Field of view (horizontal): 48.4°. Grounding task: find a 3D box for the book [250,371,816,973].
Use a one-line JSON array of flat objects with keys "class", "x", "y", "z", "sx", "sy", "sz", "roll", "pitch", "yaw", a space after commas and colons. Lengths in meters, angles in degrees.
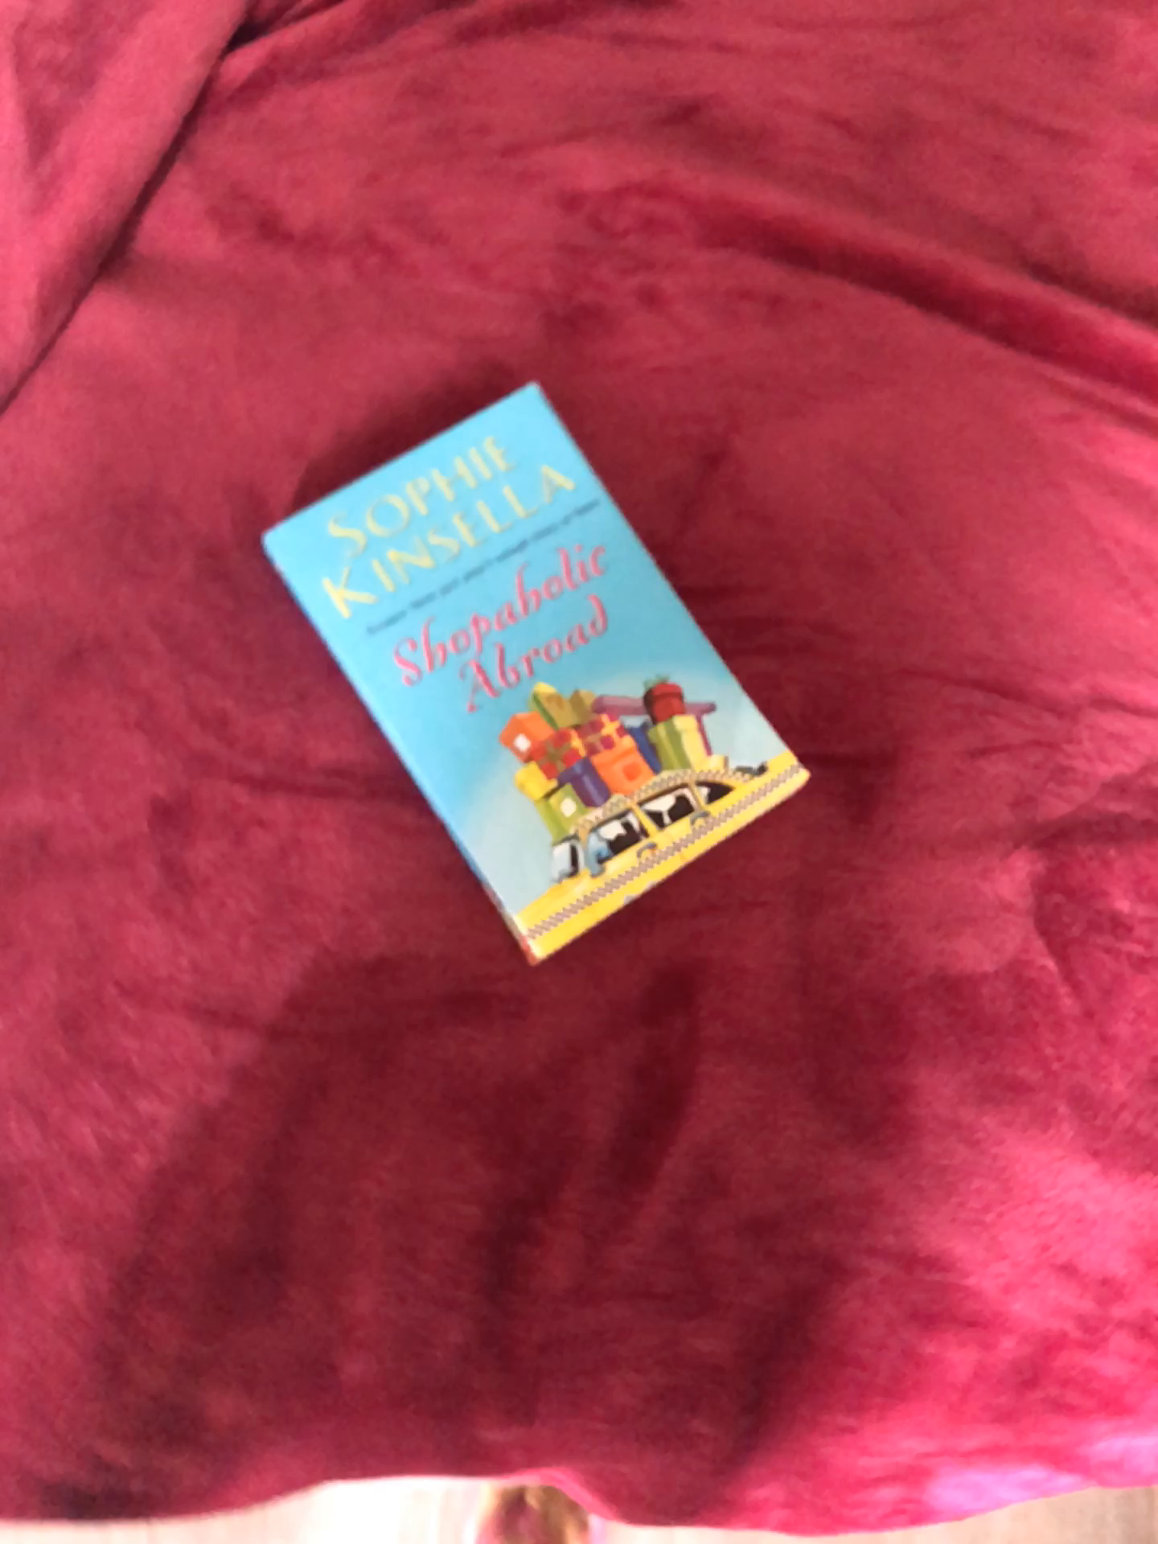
[{"class": "book", "x": -0.019, "y": -0.042, "z": 0.511, "sx": 0.129, "sy": 0.035, "sz": 0.200, "roll": -32, "pitch": 83, "yaw": -12}]
